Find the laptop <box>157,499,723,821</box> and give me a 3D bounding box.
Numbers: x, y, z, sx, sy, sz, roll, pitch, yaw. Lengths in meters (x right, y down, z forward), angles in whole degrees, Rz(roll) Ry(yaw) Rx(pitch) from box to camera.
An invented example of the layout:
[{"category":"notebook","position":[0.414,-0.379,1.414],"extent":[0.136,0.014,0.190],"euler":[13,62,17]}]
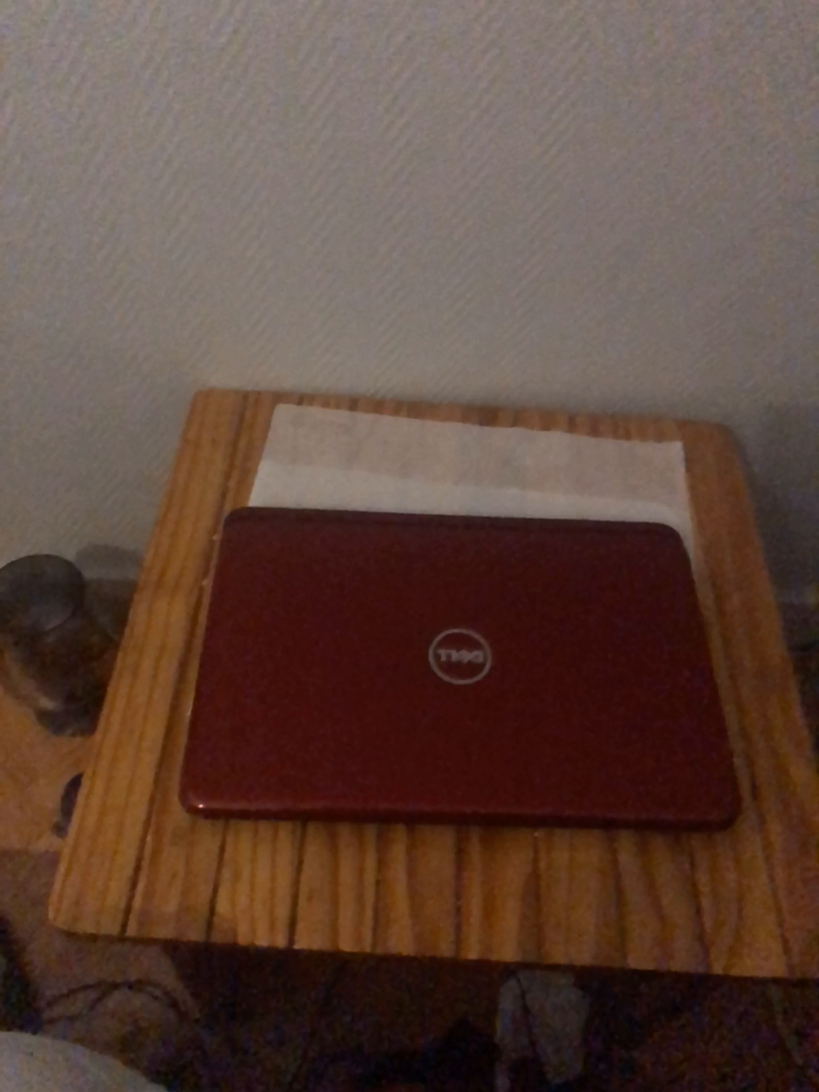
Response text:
[{"category":"laptop","position":[0.023,0.072,0.661],"extent":[0.365,0.011,0.247],"euler":[2,53,-2]}]
